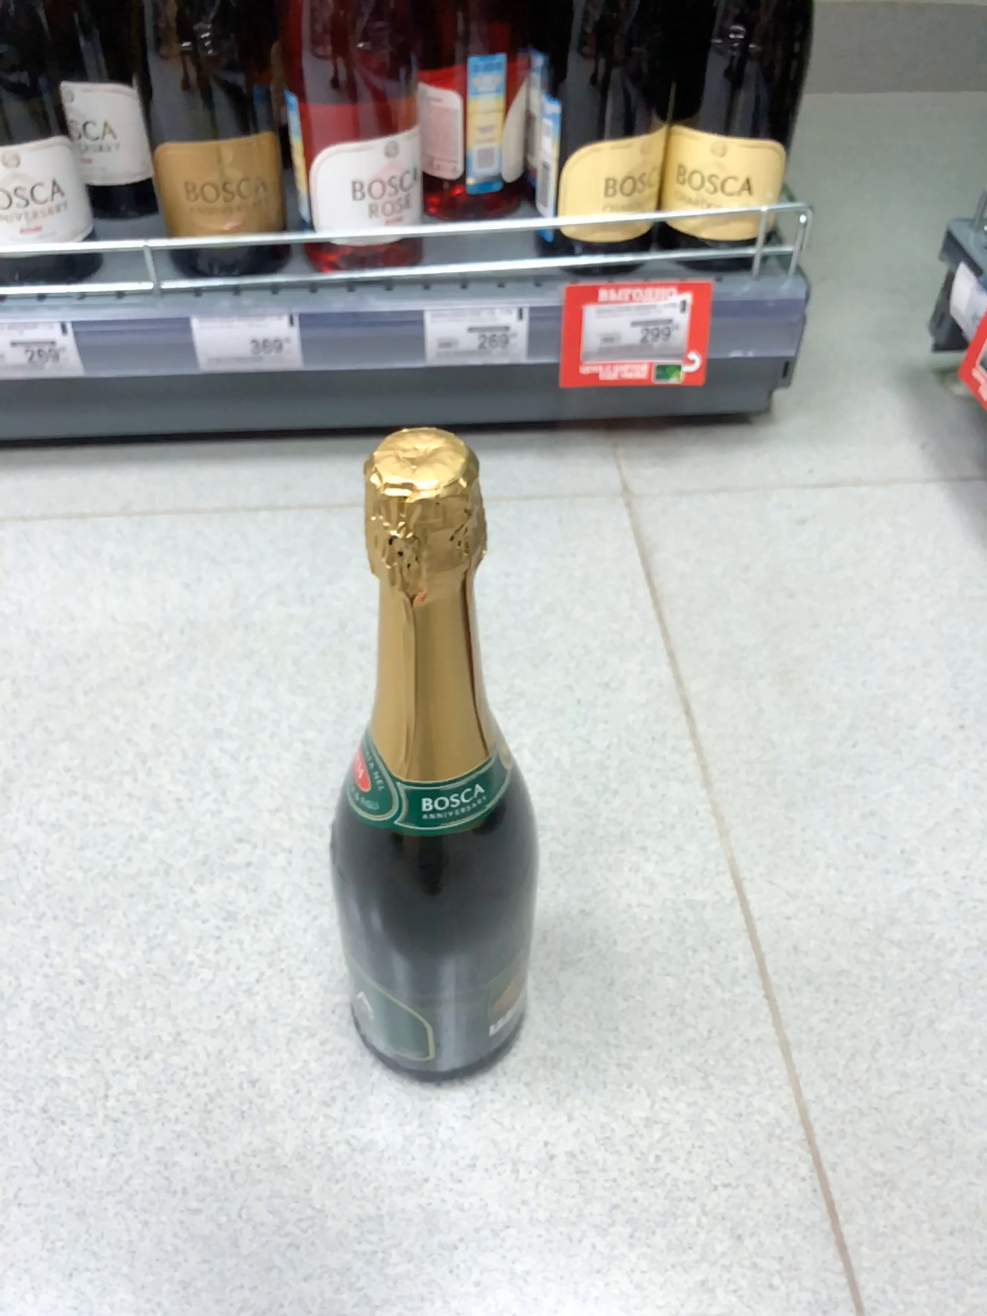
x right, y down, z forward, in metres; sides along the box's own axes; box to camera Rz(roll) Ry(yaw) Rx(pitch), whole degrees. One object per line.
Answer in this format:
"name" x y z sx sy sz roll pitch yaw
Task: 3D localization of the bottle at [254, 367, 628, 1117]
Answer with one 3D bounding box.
"bottle" -0.022 0.058 0.407 0.090 0.314 0.090 1 46 -1
